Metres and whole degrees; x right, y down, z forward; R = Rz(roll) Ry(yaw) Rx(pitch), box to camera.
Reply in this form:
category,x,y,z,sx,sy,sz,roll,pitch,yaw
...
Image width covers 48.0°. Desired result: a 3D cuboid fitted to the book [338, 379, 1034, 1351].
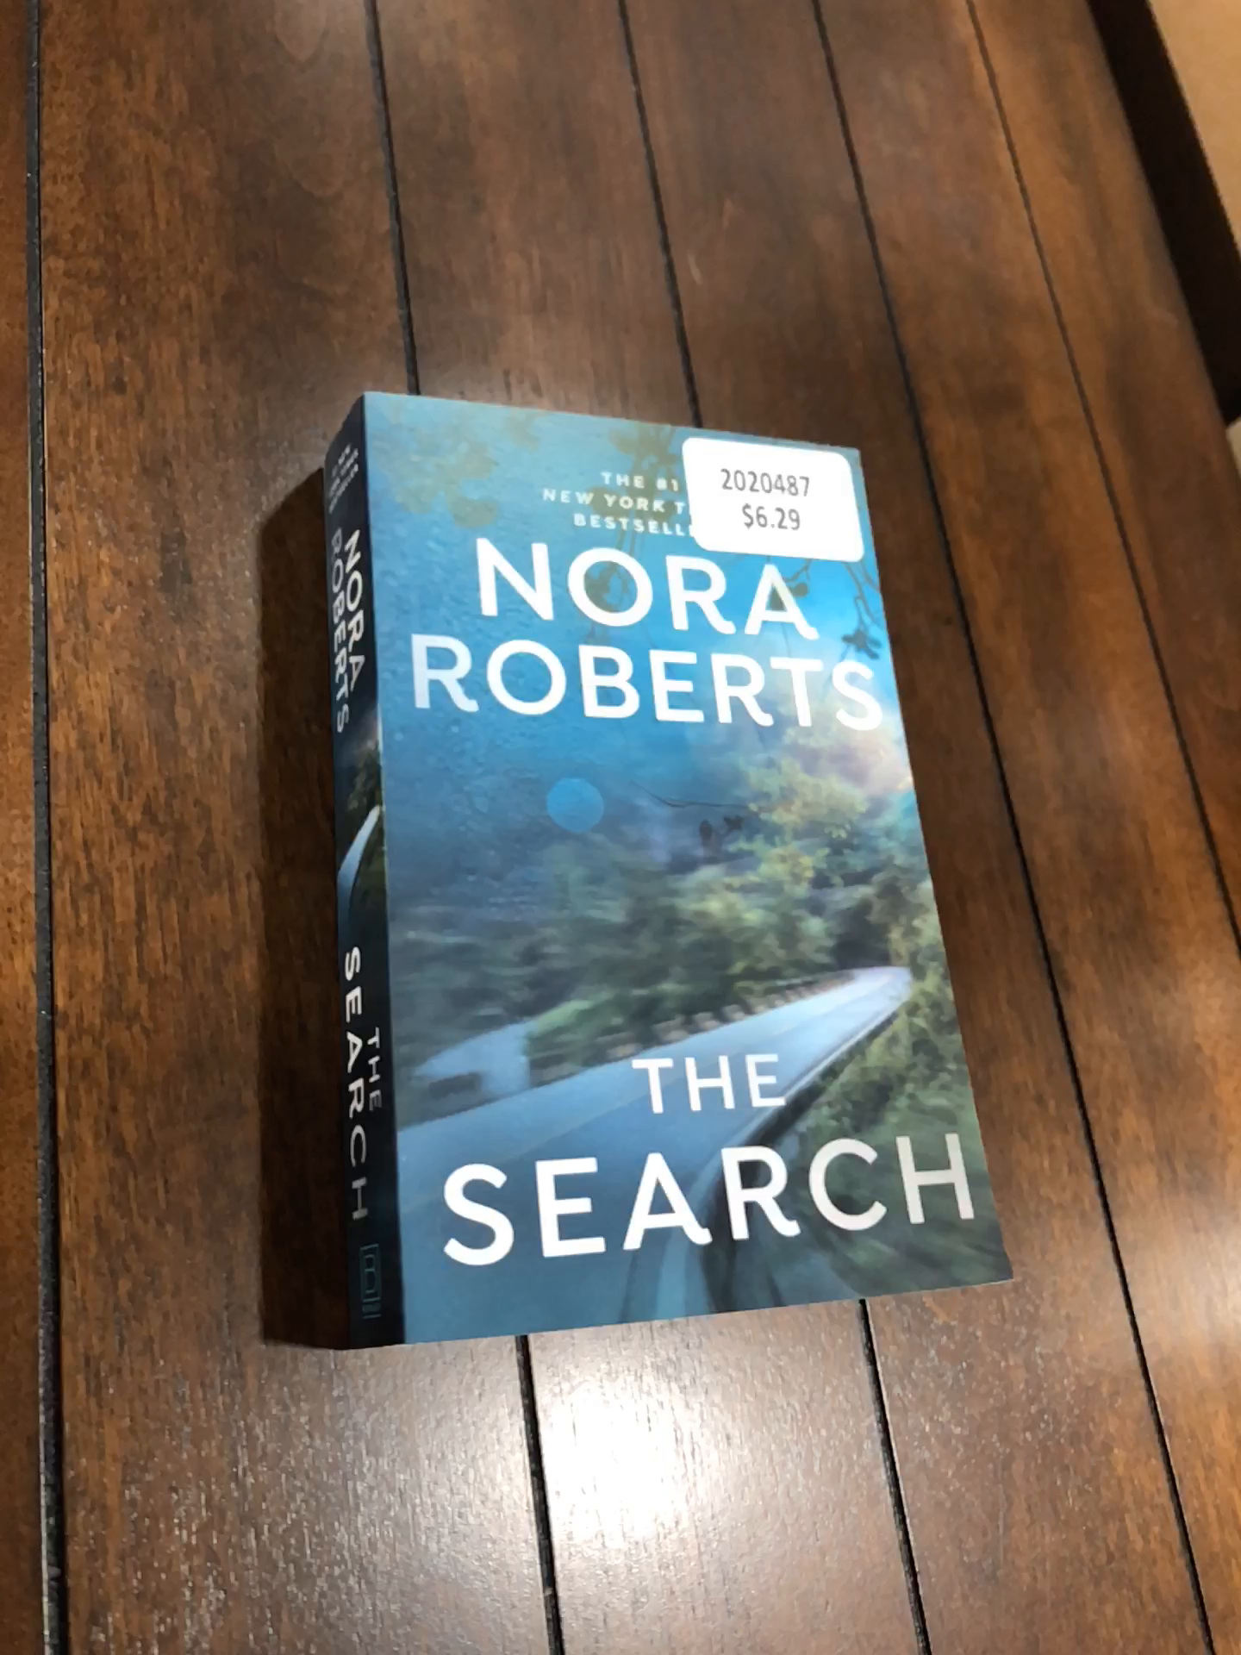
category,x,y,z,sx,sy,sz,roll,pitch,yaw
book,0.005,0.006,0.272,0.108,0.050,0.170,2,69,-20
